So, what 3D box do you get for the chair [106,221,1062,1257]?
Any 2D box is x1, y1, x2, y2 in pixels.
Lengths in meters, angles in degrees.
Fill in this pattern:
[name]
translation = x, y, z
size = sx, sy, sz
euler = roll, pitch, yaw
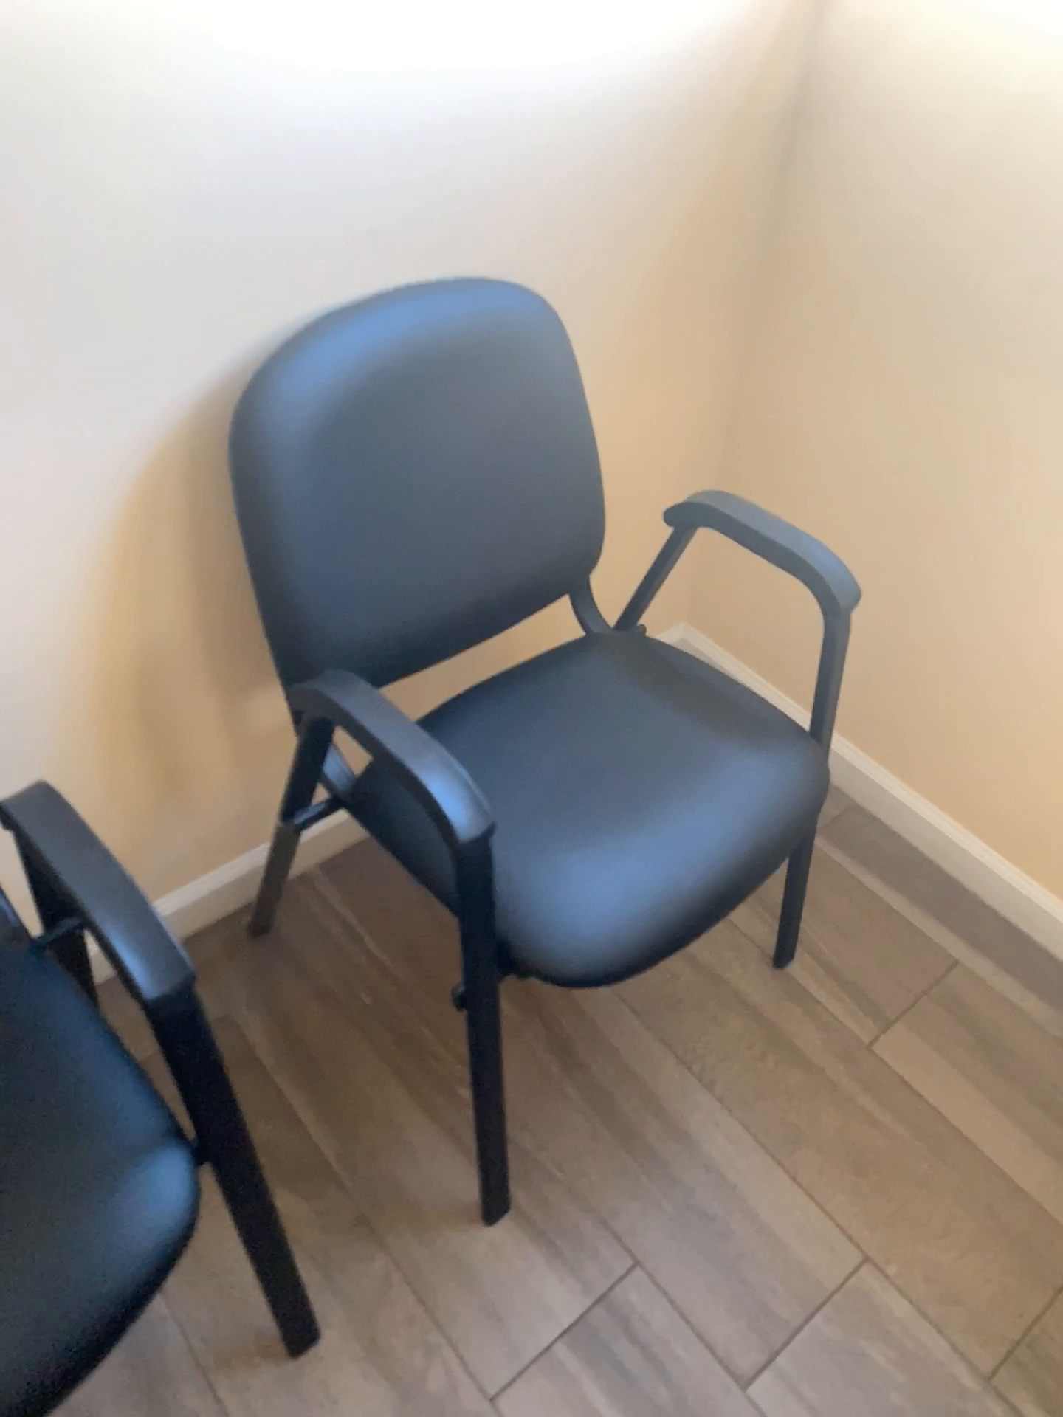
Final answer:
[chair]
translation = 0.026, 0.023, 1.245
size = 0.636, 0.847, 0.590
euler = -29, 54, -31
